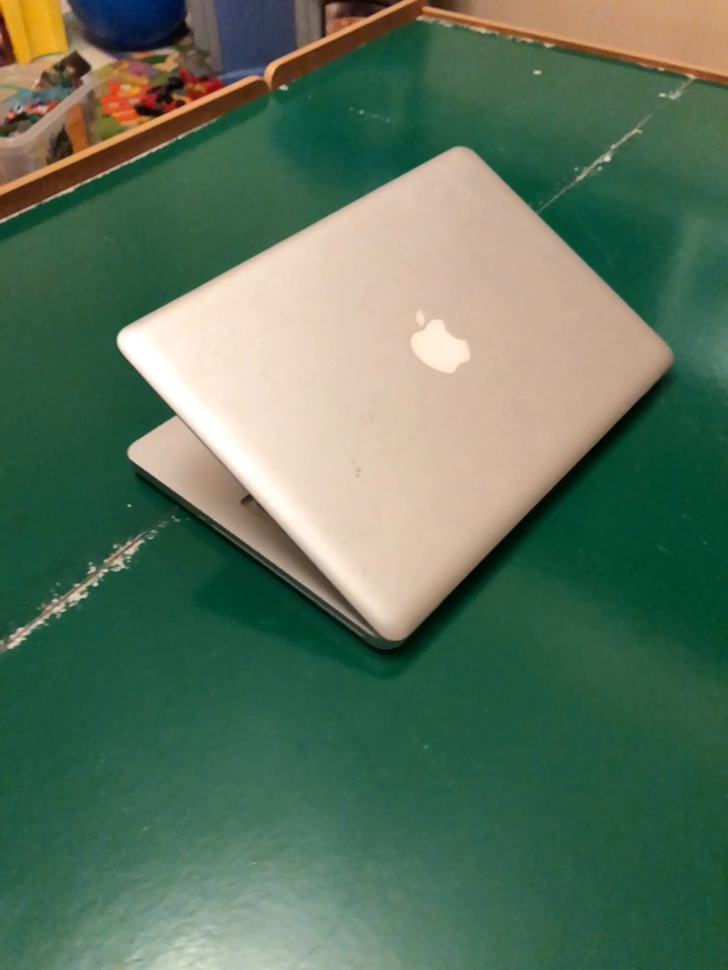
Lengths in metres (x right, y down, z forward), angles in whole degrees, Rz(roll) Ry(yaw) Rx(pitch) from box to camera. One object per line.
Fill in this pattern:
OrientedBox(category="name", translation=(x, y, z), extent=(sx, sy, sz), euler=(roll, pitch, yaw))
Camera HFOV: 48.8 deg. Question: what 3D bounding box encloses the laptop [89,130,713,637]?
OrientedBox(category="laptop", translation=(0.035, -0.093, 0.507), extent=(0.210, 0.098, 0.316), euler=(33, 56, 27))
